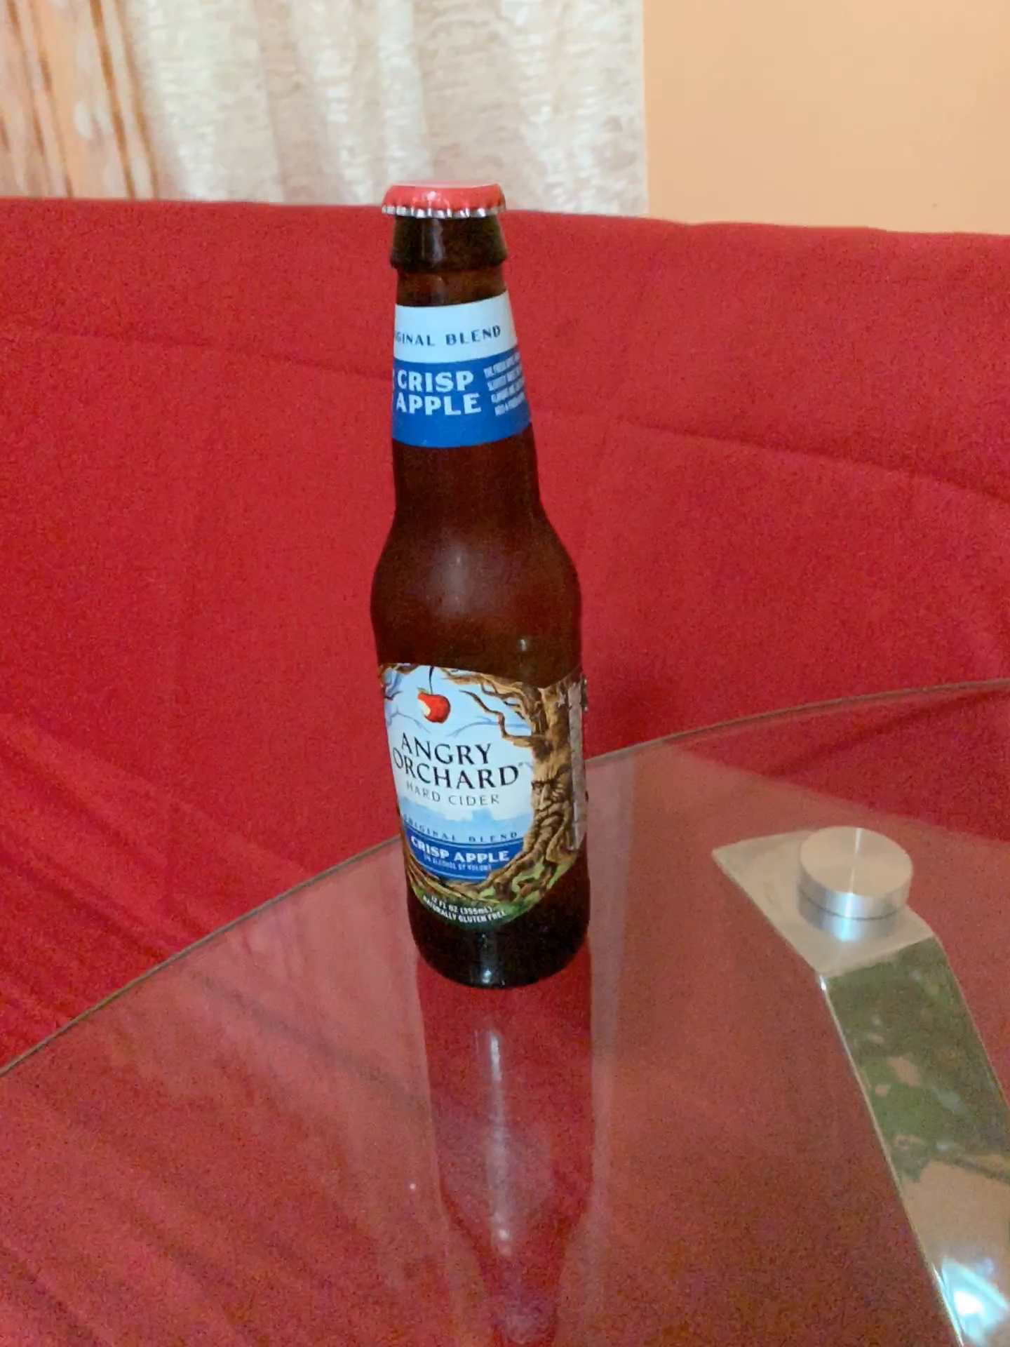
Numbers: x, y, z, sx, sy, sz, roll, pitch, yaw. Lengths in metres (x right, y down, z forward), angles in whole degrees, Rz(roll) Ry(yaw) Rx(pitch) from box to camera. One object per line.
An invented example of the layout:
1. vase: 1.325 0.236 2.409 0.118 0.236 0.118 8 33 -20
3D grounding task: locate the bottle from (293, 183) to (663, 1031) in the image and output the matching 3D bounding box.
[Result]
1. bottle: 0.000 -0.014 0.306 0.070 0.231 0.070 -1 26 1
